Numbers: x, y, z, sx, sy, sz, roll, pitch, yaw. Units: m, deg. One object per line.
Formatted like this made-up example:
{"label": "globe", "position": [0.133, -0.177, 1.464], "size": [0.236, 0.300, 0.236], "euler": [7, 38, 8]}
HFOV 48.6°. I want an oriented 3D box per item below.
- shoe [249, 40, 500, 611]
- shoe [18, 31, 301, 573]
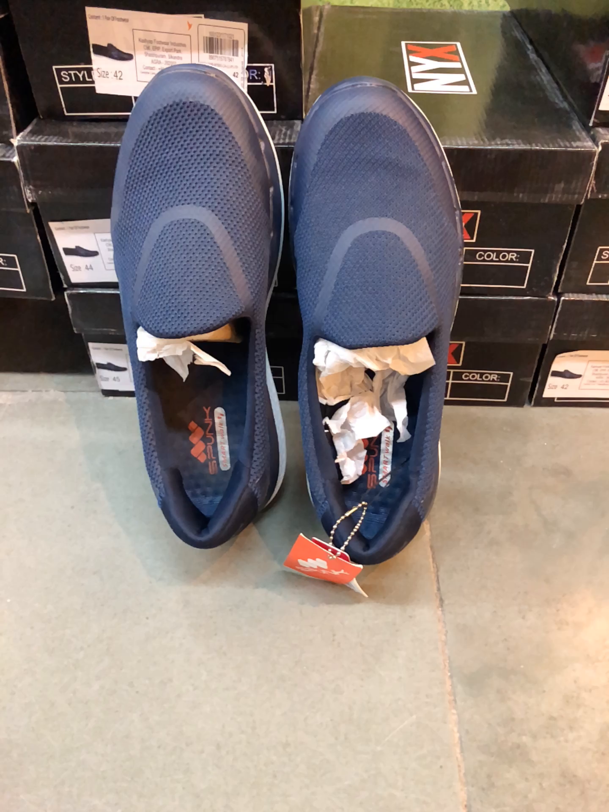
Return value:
{"label": "shoe", "position": [0.037, -0.036, 0.372], "size": [0.107, 0.273, 0.099], "euler": [-2, 15, 3]}
{"label": "shoe", "position": [-0.067, -0.053, 0.398], "size": [0.109, 0.273, 0.110], "euler": [-2, 17, 3]}
